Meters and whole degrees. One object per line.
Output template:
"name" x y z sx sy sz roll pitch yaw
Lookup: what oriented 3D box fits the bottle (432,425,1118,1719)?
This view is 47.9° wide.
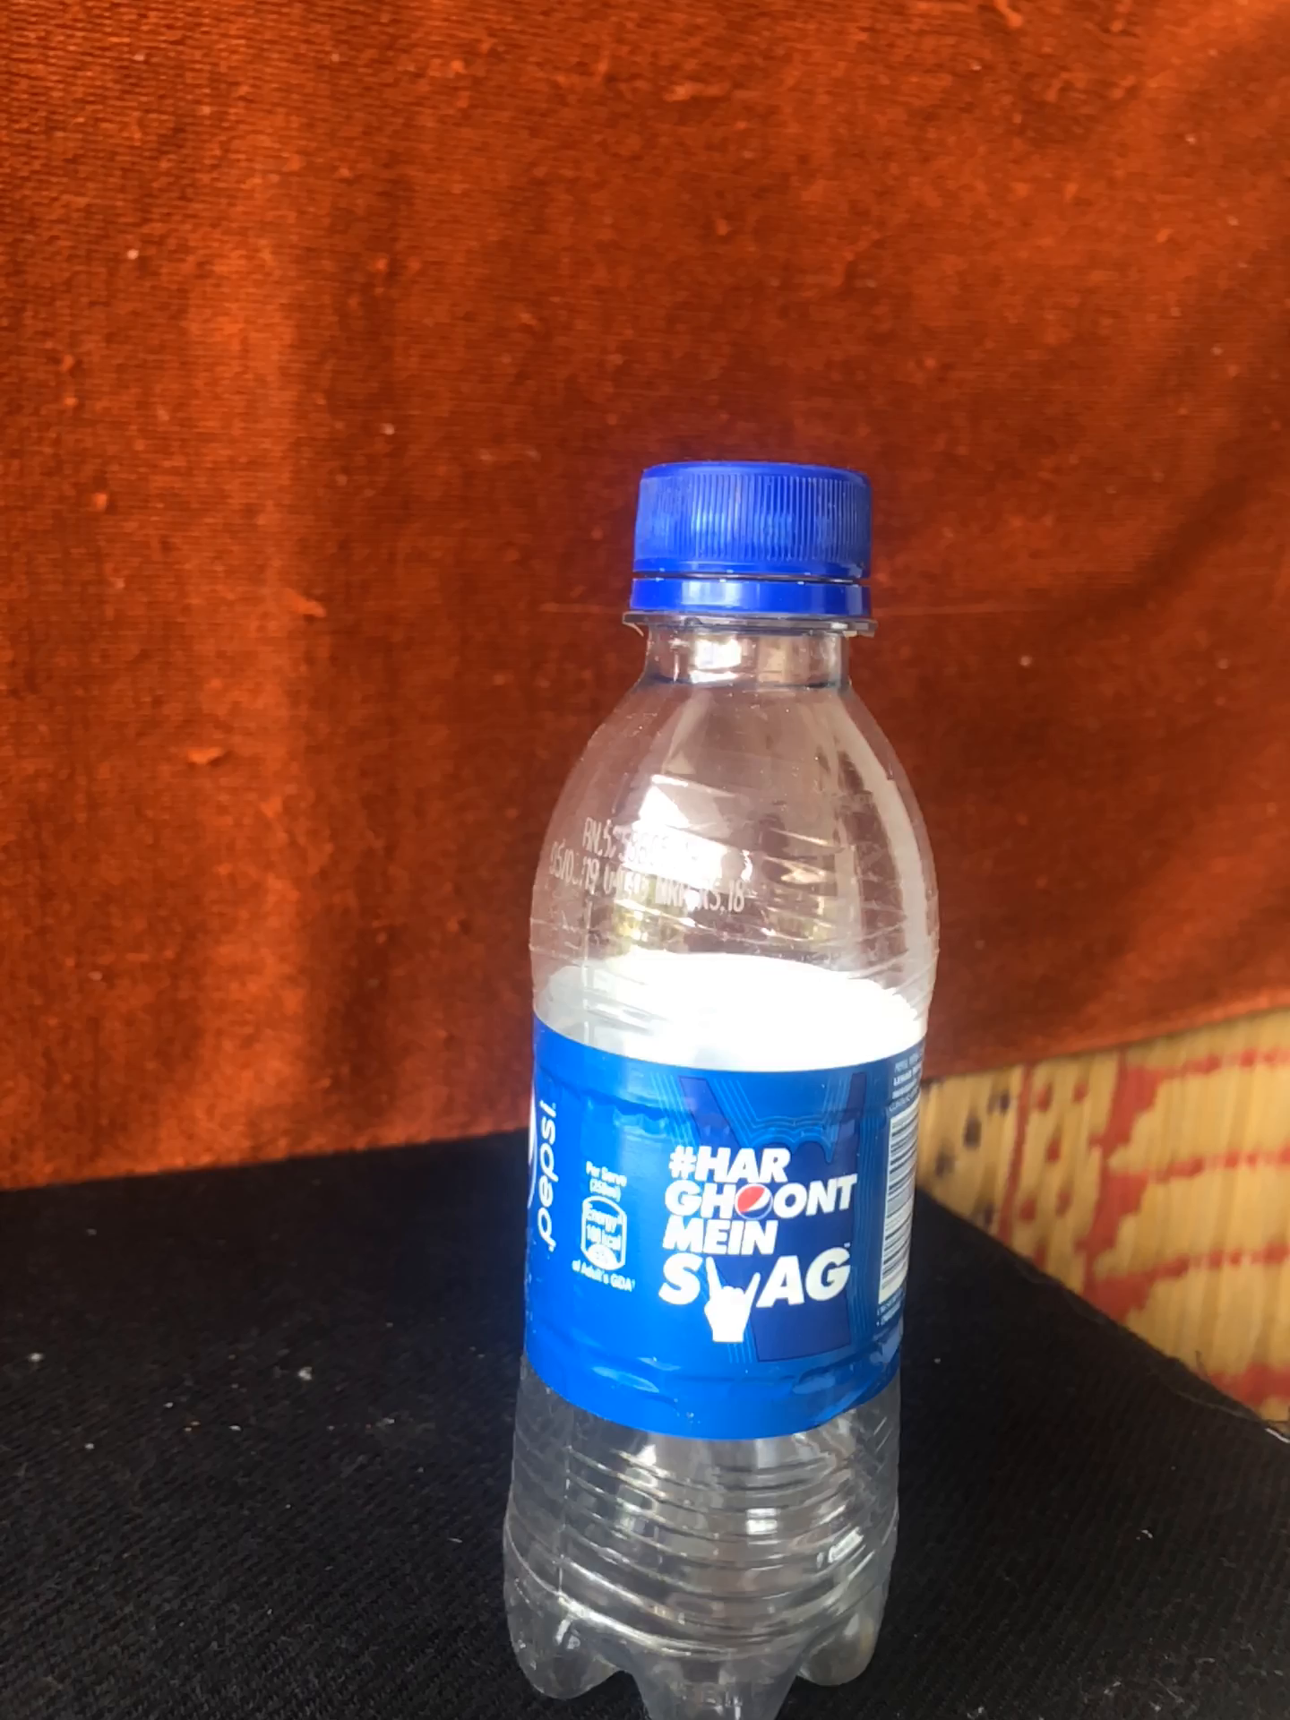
"bottle" 0.011 0.036 0.189 0.060 0.170 0.050 5 12 -1
